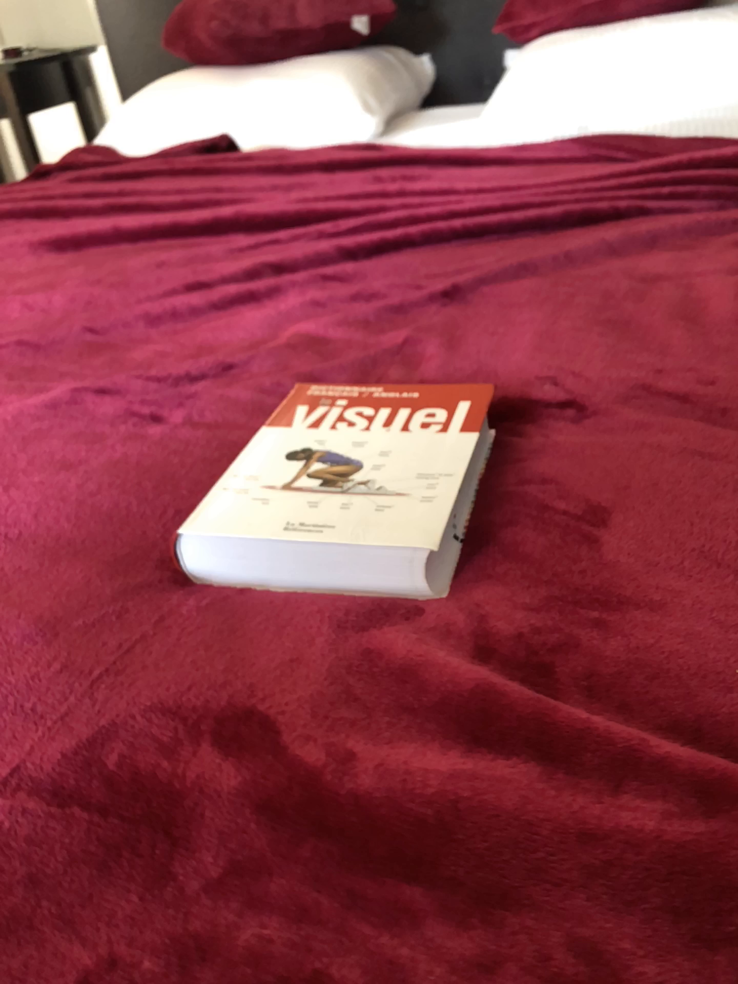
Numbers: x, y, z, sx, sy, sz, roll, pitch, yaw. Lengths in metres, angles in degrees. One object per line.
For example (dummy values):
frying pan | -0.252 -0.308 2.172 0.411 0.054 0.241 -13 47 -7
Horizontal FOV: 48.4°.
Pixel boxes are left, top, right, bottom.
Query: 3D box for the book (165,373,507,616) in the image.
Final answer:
book | -0.006 -0.011 0.466 0.140 0.039 0.181 3 33 17
